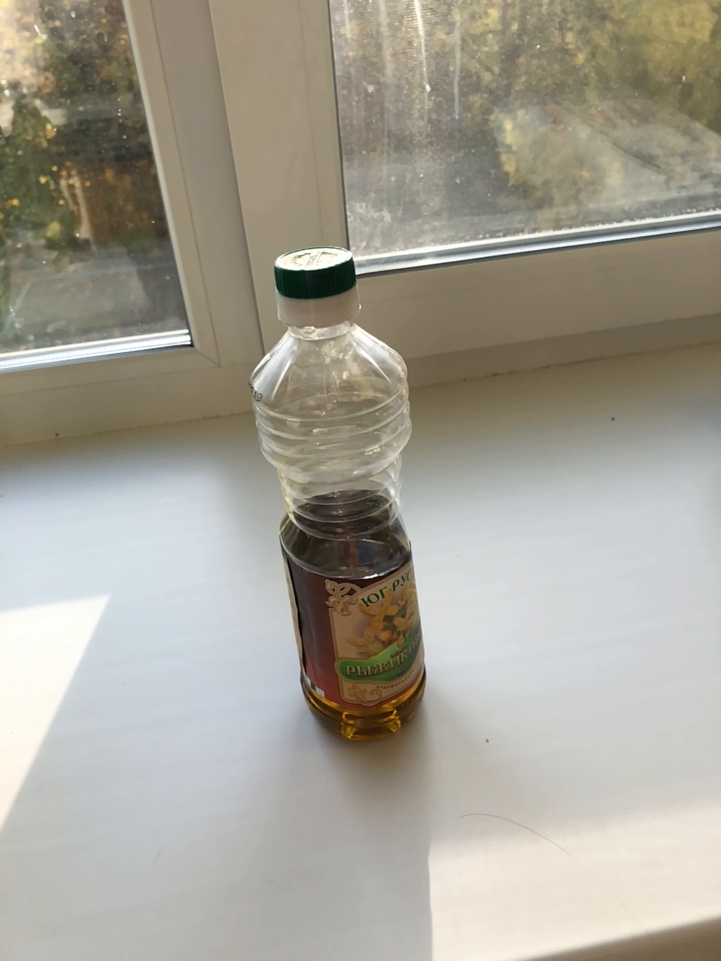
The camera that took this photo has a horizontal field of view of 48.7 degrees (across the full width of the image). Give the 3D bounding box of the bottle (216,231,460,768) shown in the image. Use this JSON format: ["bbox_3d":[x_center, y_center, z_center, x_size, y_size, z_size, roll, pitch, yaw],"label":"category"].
[{"bbox_3d":[-0.003,0.015,0.344,0.061,0.218,0.068,-20,35,-21],"label":"bottle"}]
